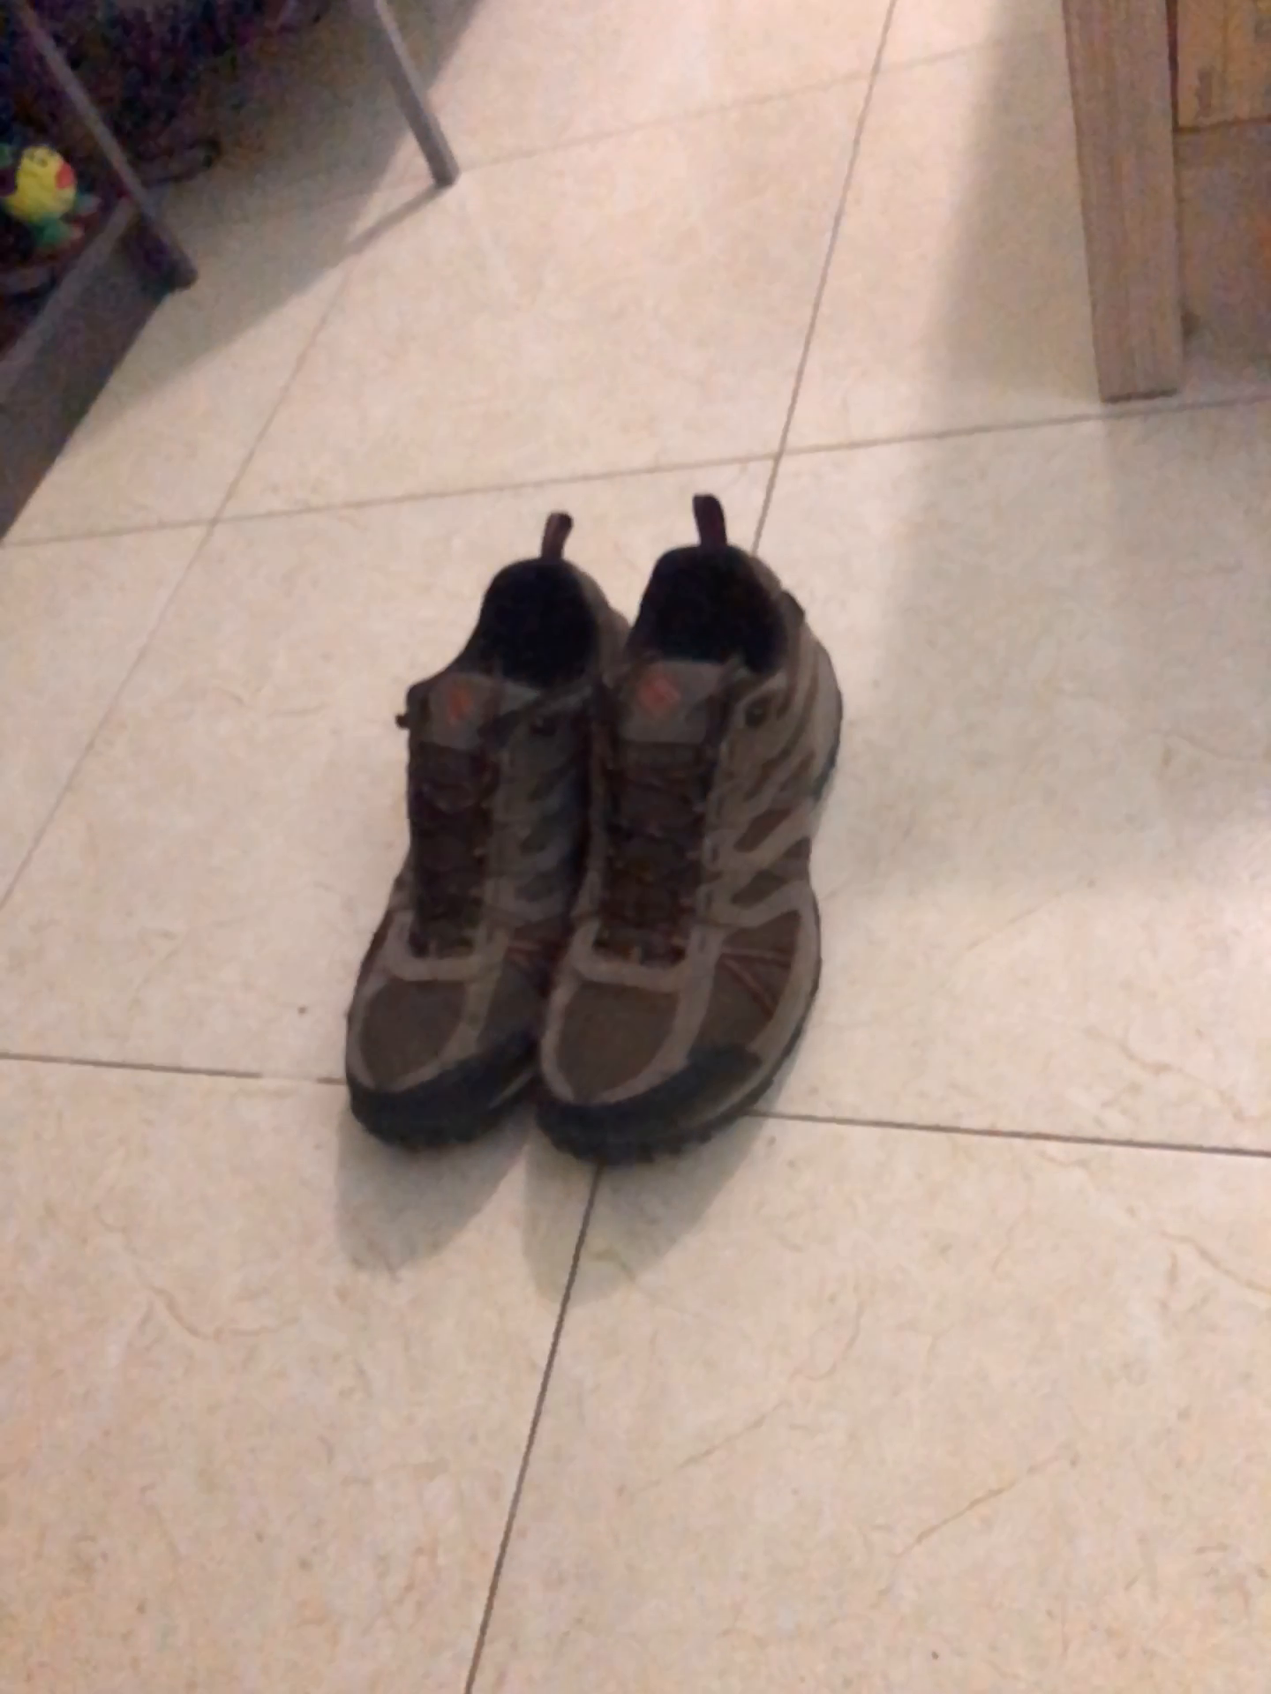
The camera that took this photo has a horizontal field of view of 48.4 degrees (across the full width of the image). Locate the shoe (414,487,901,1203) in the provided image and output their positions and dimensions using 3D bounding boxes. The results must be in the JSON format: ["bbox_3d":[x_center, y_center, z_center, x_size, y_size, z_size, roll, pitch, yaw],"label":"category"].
[{"bbox_3d":[0.027,-0.012,0.660,0.120,0.120,0.311,2,55,25],"label":"shoe"}]

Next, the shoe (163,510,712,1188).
[{"bbox_3d":[-0.078,-0.011,0.687,0.130,0.110,0.311,3,56,26],"label":"shoe"}]
